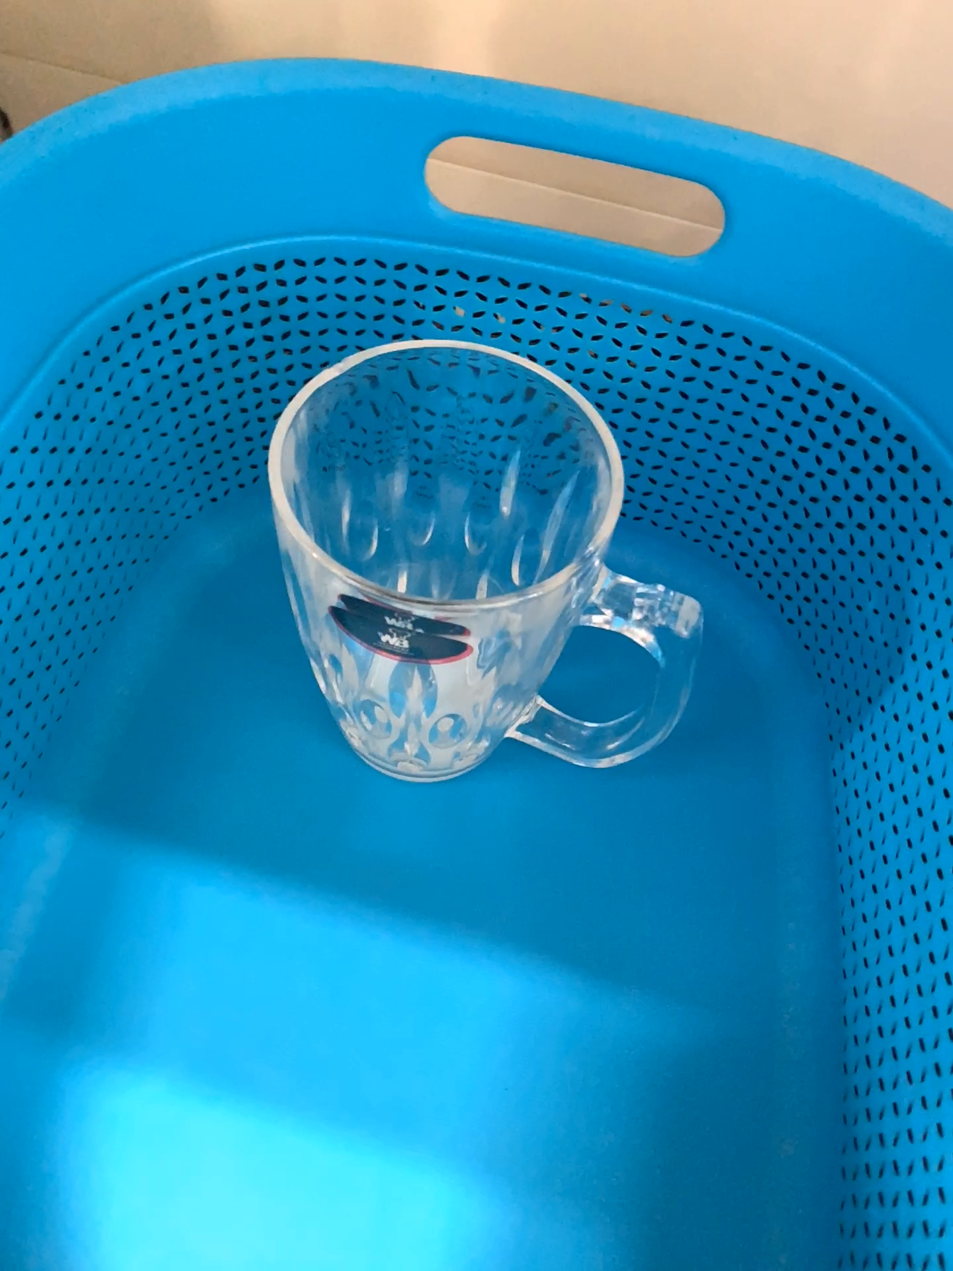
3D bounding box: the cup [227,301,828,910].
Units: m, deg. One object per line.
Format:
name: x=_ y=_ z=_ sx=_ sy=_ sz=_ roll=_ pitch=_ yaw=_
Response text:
cup: x=0.011 y=-0.002 z=0.256 sx=0.110 sy=0.109 sz=0.080 roll=19 pitch=57 yaw=6
